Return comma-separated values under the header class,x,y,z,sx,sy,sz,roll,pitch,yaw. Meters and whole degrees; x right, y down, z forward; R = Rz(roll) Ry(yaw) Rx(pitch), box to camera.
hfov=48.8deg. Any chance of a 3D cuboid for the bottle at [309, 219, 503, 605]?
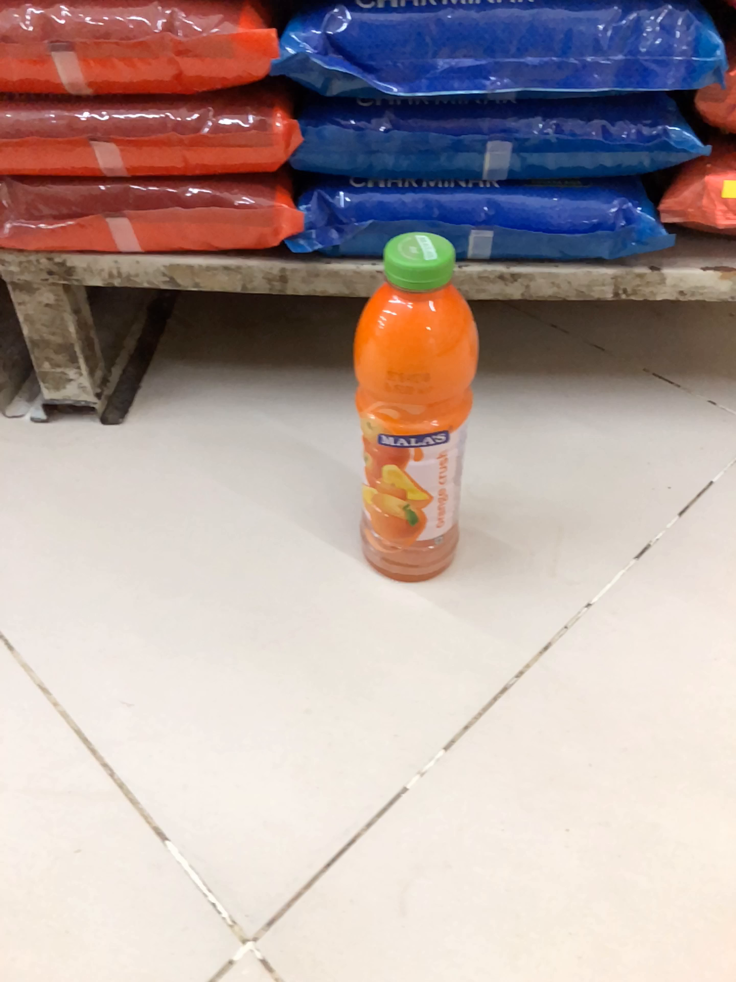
class,x,y,z,sx,sy,sz,roll,pitch,yaw
bottle,0.026,-0.042,0.536,0.090,0.239,0.091,-1,45,1
